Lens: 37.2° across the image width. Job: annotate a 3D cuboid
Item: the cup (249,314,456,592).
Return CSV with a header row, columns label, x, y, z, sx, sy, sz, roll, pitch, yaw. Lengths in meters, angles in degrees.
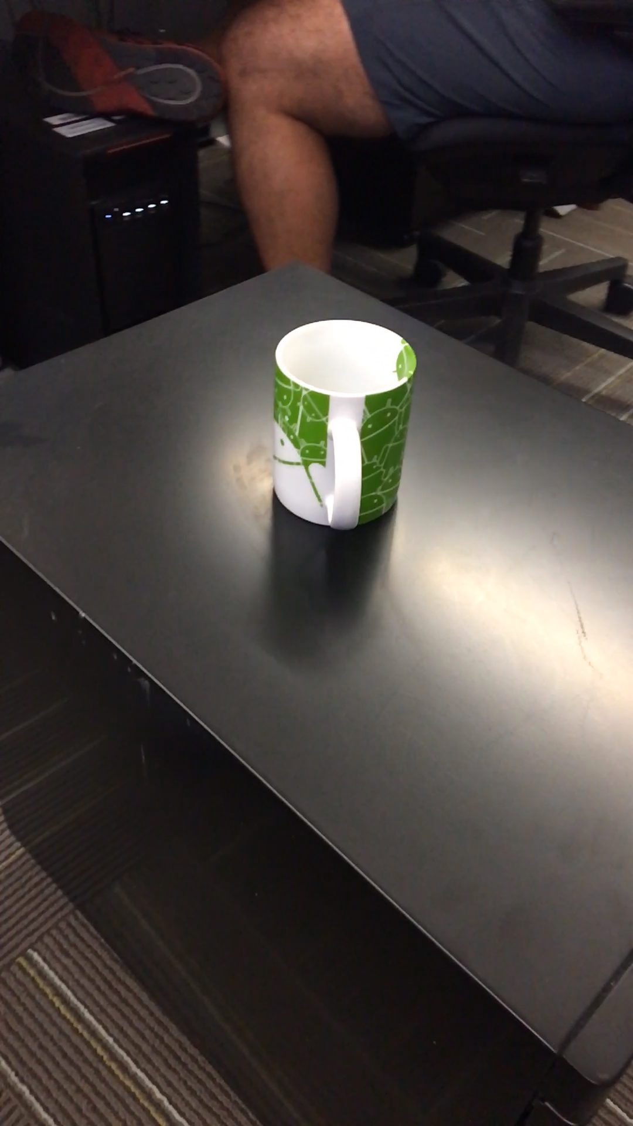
label,x,y,z,sx,sy,sz,roll,pitch,yaw
cup,0.014,-0.069,0.568,0.090,0.110,0.120,-6,44,-11
